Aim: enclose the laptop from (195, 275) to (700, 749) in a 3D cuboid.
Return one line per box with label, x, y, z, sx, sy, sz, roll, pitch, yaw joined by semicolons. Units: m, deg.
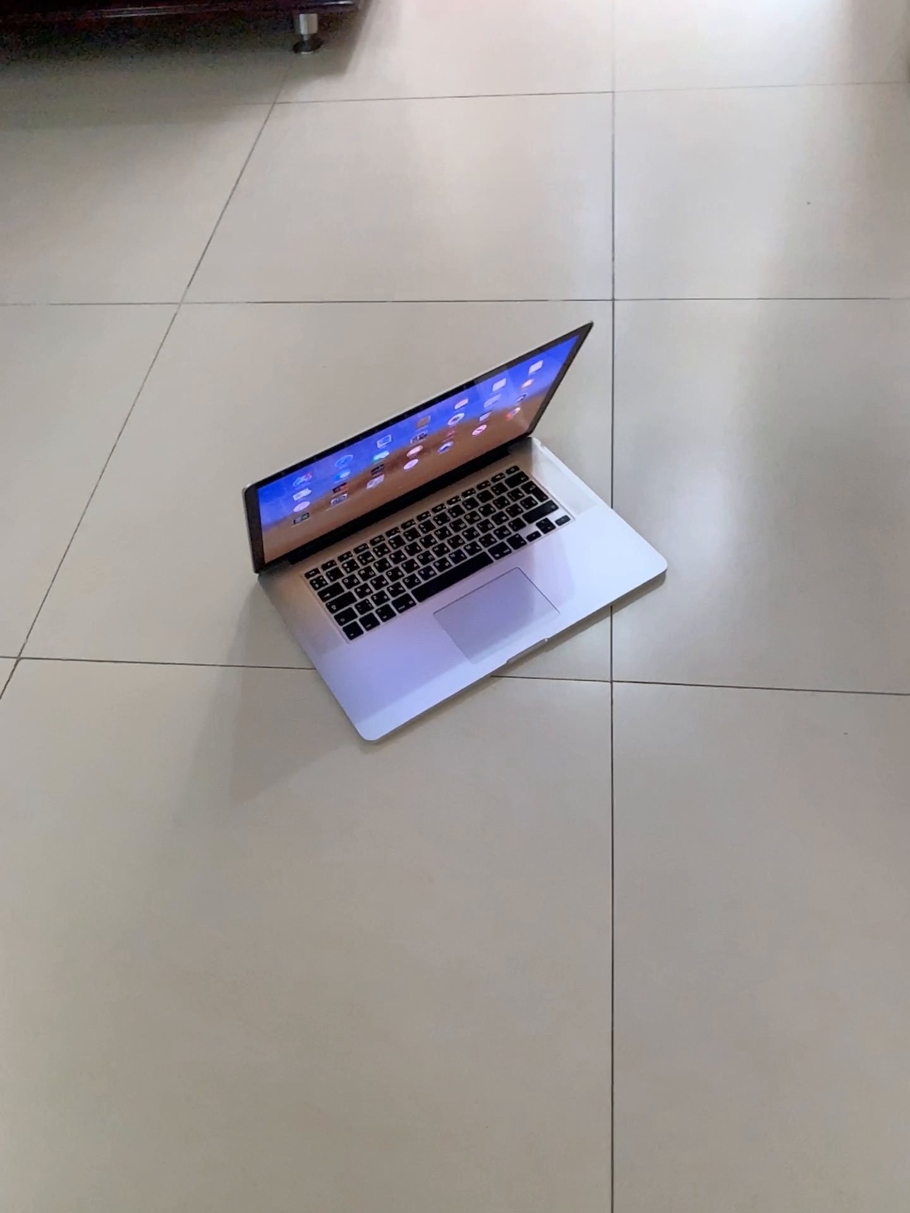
laptop;-0.003;-0.098;0.872;0.360;0.207;0.242;-29;55;-16
